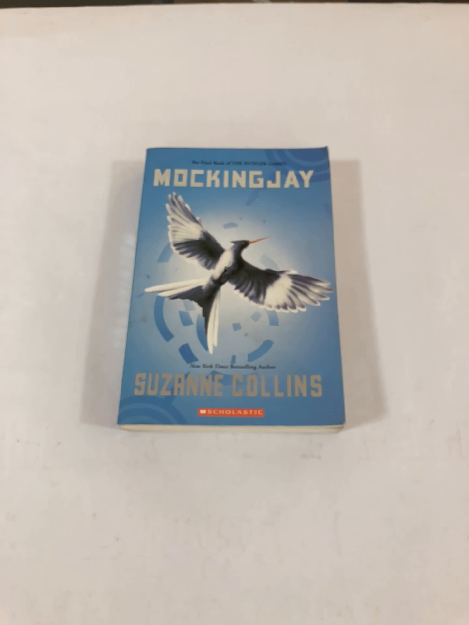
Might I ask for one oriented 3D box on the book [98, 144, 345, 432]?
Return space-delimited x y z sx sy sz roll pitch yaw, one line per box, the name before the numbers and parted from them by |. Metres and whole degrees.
book | -0.006 -0.022 0.344 0.138 0.029 0.191 1 68 0
